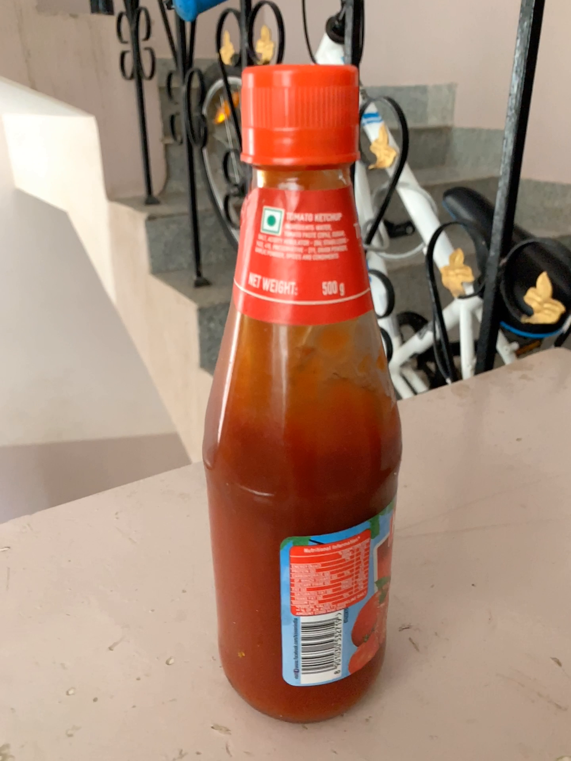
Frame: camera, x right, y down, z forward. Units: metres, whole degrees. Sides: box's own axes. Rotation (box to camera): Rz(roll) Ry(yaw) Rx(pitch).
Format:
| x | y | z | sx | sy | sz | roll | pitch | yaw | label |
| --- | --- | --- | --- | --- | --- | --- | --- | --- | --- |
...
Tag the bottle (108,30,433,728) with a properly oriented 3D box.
| x | y | z | sx | sy | sz | roll | pitch | yaw | label |
| --- | --- | --- | --- | --- | --- | --- | --- | --- | --- |
| 0.000 | 0.010 | 0.204 | 0.070 | 0.218 | 0.071 | -1 | 24 | 0 | bottle |
